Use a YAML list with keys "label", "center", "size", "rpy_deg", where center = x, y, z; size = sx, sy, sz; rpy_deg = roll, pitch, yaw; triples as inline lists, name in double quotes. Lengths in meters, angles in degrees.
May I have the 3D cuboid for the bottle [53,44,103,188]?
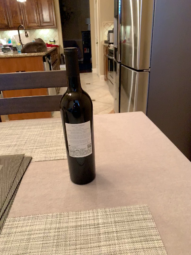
- label: "bottle"
  center: [-0.035, -0.019, 0.472]
  size: [0.083, 0.328, 0.090]
  rpy_deg: [-2, 25, 1]
